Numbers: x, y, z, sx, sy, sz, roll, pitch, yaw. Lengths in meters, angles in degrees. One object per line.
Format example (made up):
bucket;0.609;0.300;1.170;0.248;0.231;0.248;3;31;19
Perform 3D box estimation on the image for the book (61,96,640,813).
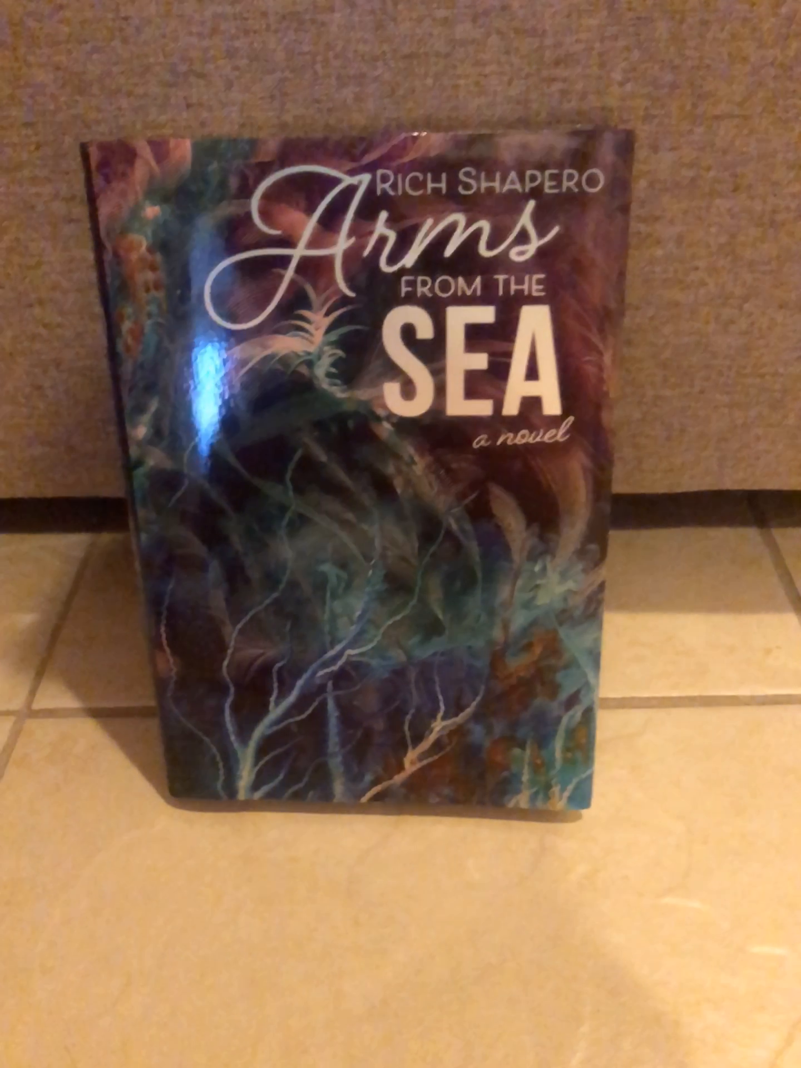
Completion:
book;-0.011;-0.014;0.293;0.156;0.227;0.030;0;21;4
